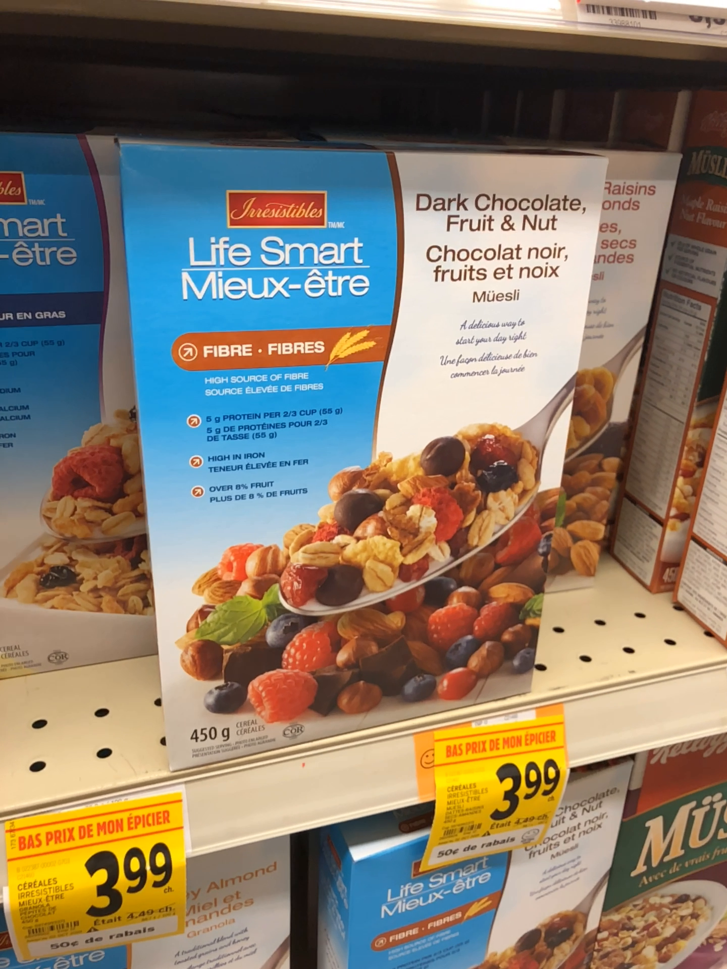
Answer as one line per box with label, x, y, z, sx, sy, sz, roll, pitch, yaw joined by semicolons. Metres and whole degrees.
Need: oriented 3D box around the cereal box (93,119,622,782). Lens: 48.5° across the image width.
cereal box;-0.005;-0.010;0.319;0.170;0.238;0.050;-6;26;-19
